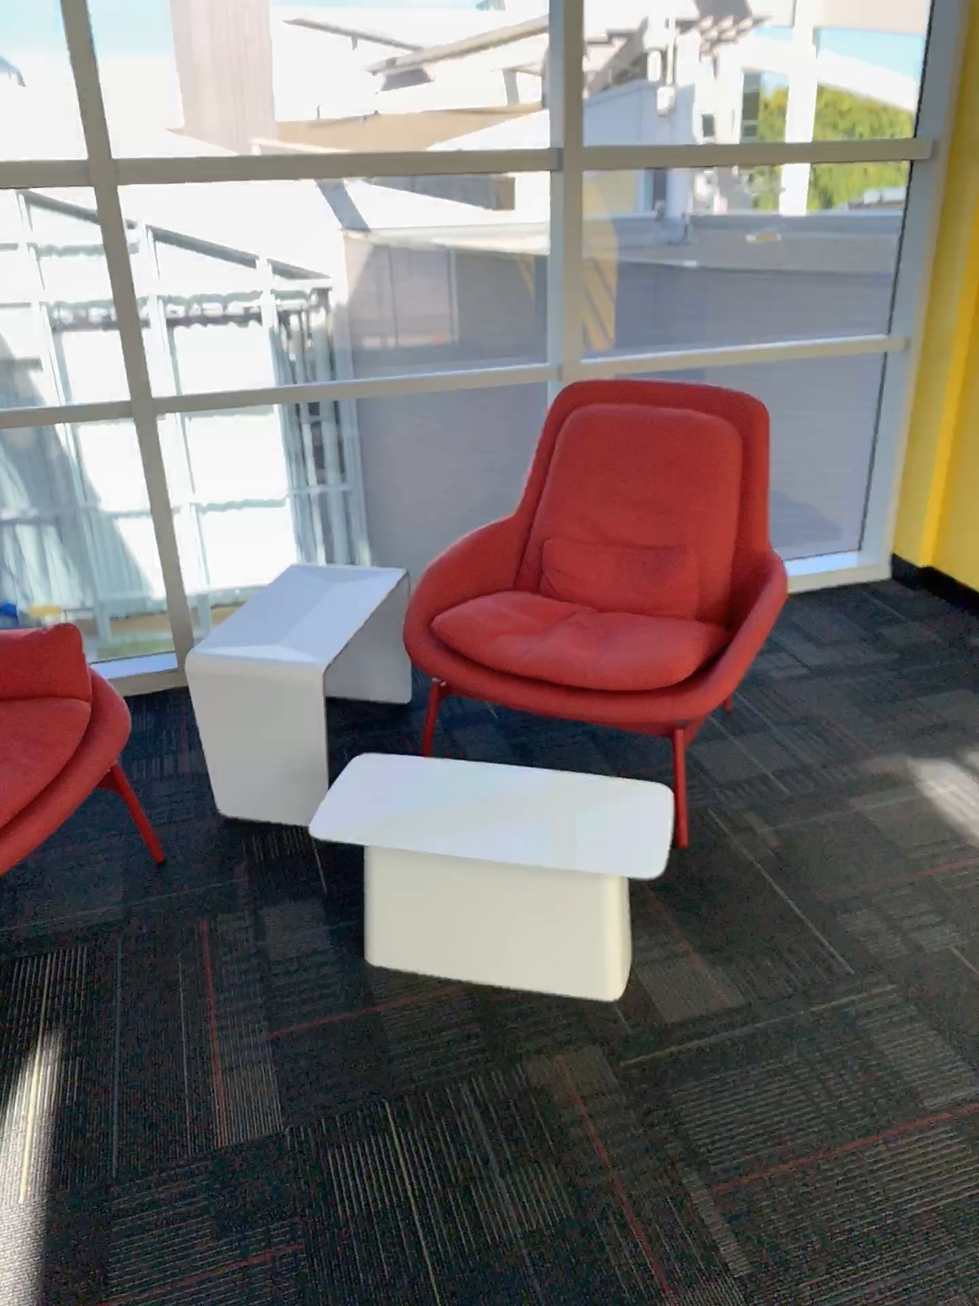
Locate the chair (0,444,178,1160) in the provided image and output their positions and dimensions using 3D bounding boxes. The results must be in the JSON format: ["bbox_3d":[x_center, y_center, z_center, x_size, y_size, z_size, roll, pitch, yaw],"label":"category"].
[{"bbox_3d":[-1.339,0.217,2.104,0.821,1.054,0.874,7,27,17],"label":"chair"}]

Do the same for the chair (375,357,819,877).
[{"bbox_3d":[0.330,-0.177,2.672,0.871,0.994,0.924,8,28,19],"label":"chair"}]
